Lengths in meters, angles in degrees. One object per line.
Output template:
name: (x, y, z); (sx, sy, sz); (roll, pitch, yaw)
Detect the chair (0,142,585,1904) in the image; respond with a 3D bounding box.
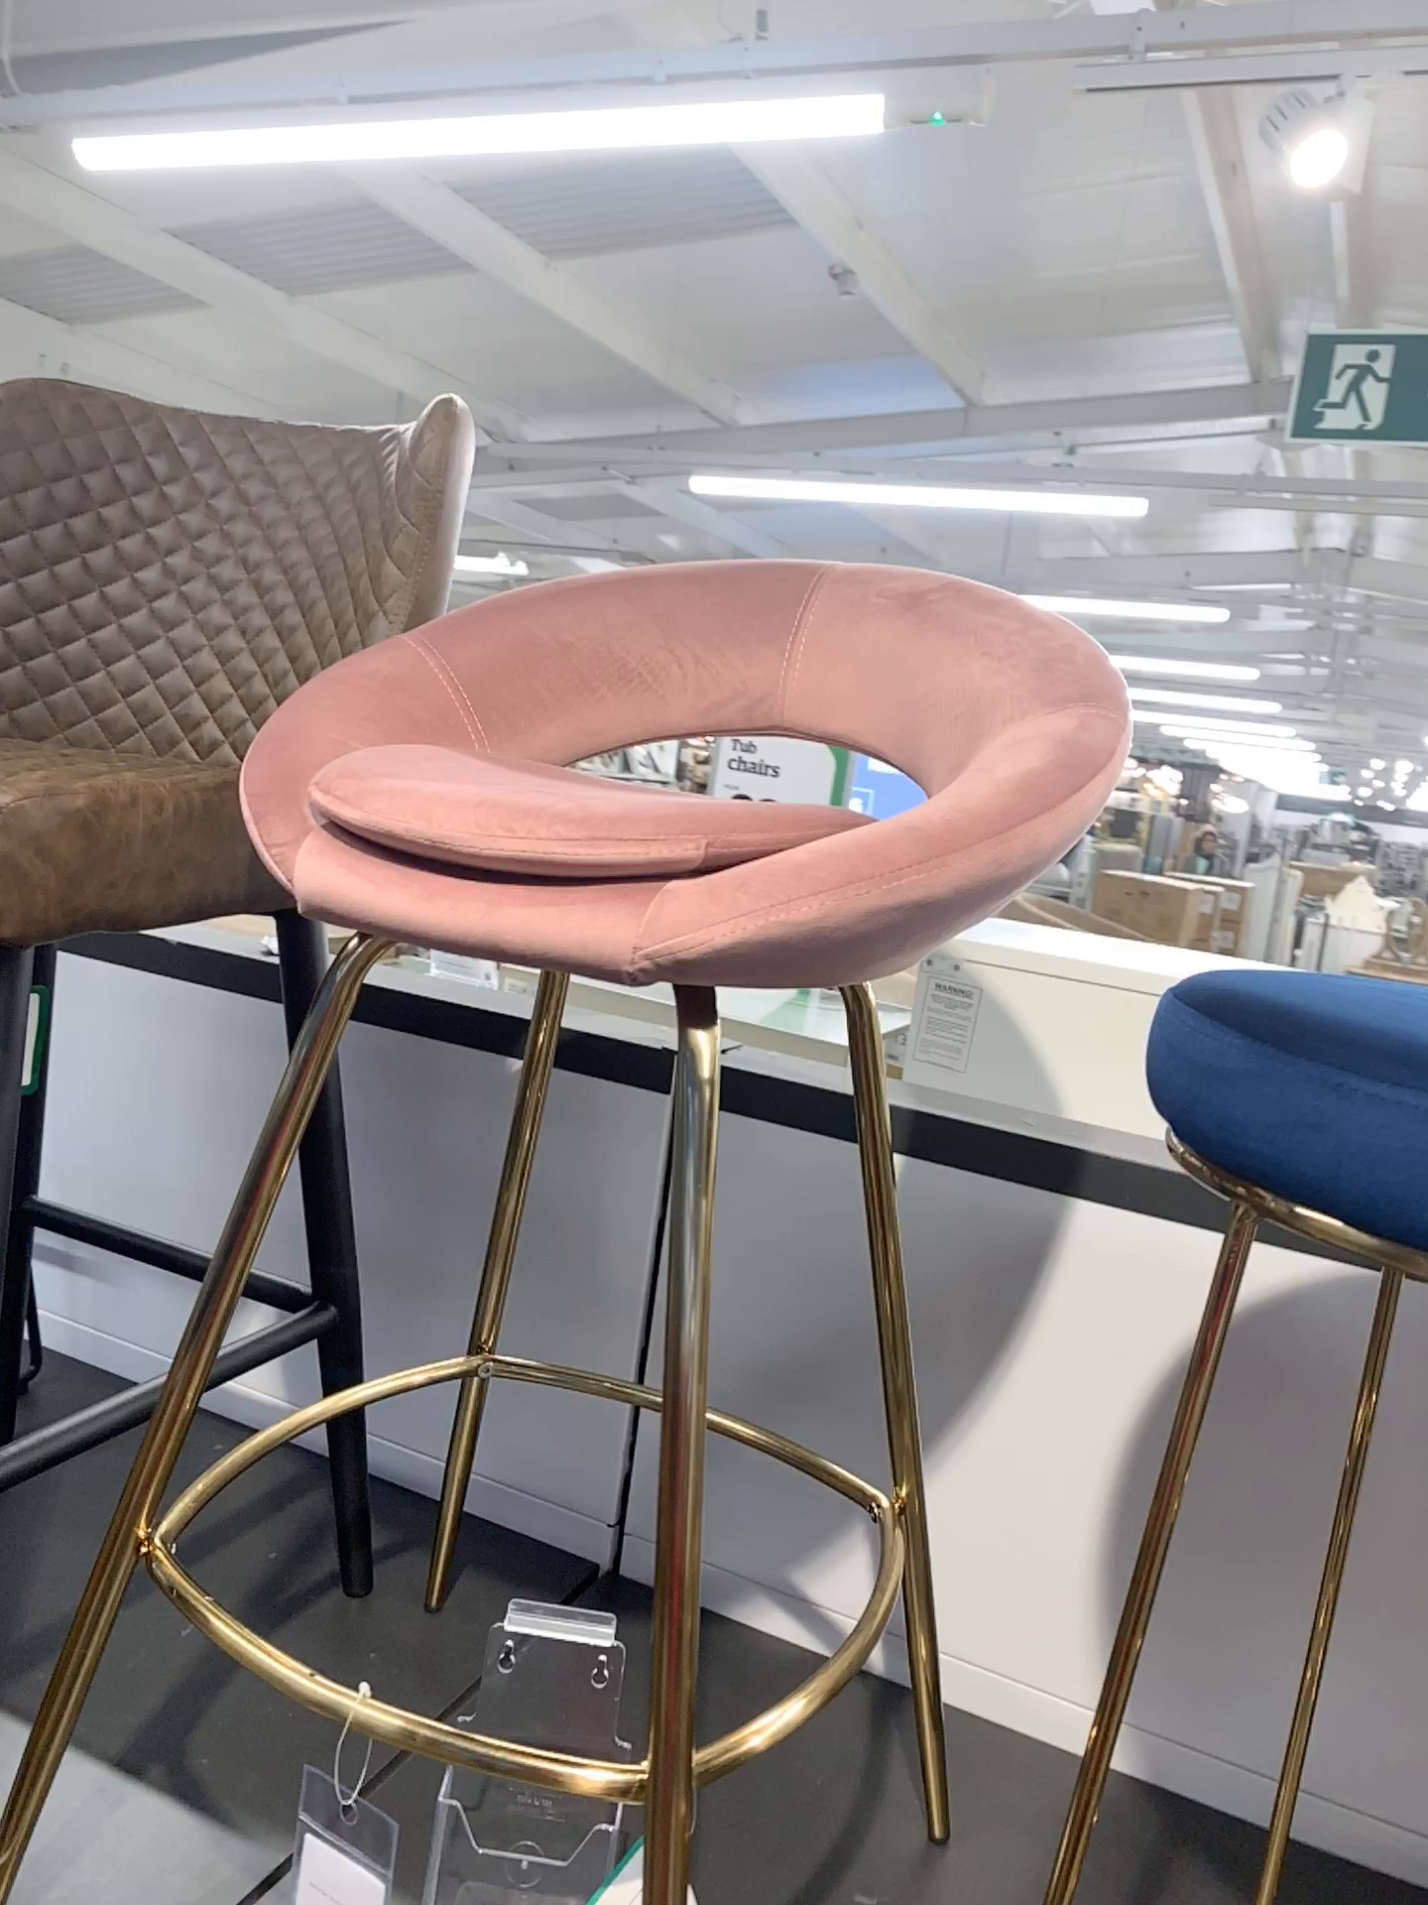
chair: (-0.477, 0.026, 1.050); (0.502, 0.958, 0.452); (10, 7, 21)

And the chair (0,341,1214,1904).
chair: (-0.065, 0.149, 0.882); (0.492, 0.858, 0.461); (11, 7, 28)

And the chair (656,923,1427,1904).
chair: (0.320, 0.339, 0.672); (0.462, 0.619, 0.431); (11, 8, 28)
